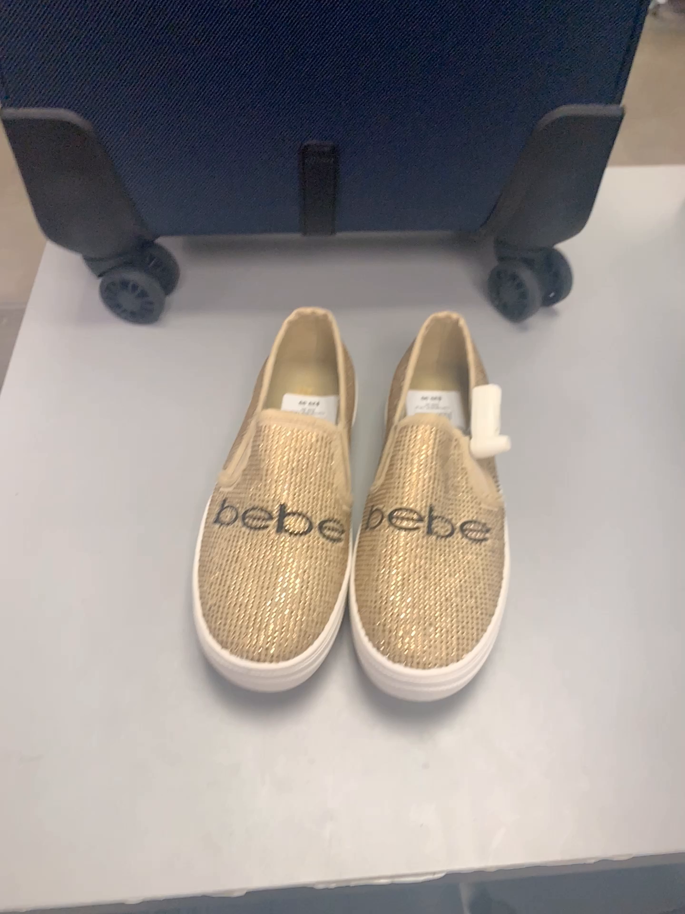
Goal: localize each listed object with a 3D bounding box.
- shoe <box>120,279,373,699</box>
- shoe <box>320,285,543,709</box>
[{"bbox_3d":[-0.038,0.008,0.401,0.093,0.086,0.223,4,53,4],"label":"shoe"},{"bbox_3d":[0.048,0.012,0.398,0.093,0.086,0.223,4,53,4],"label":"shoe"}]
